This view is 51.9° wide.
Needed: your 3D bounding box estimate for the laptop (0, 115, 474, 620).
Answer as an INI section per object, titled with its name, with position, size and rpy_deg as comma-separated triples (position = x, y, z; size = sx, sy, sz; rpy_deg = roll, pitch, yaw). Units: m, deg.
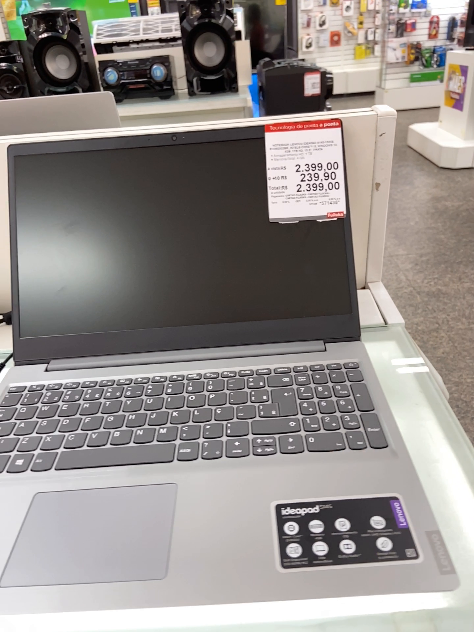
[laptop]
position = -0.062, -0.016, 0.416
size = 0.369, 0.192, 0.404
rpy_deg = -4, 32, 2
